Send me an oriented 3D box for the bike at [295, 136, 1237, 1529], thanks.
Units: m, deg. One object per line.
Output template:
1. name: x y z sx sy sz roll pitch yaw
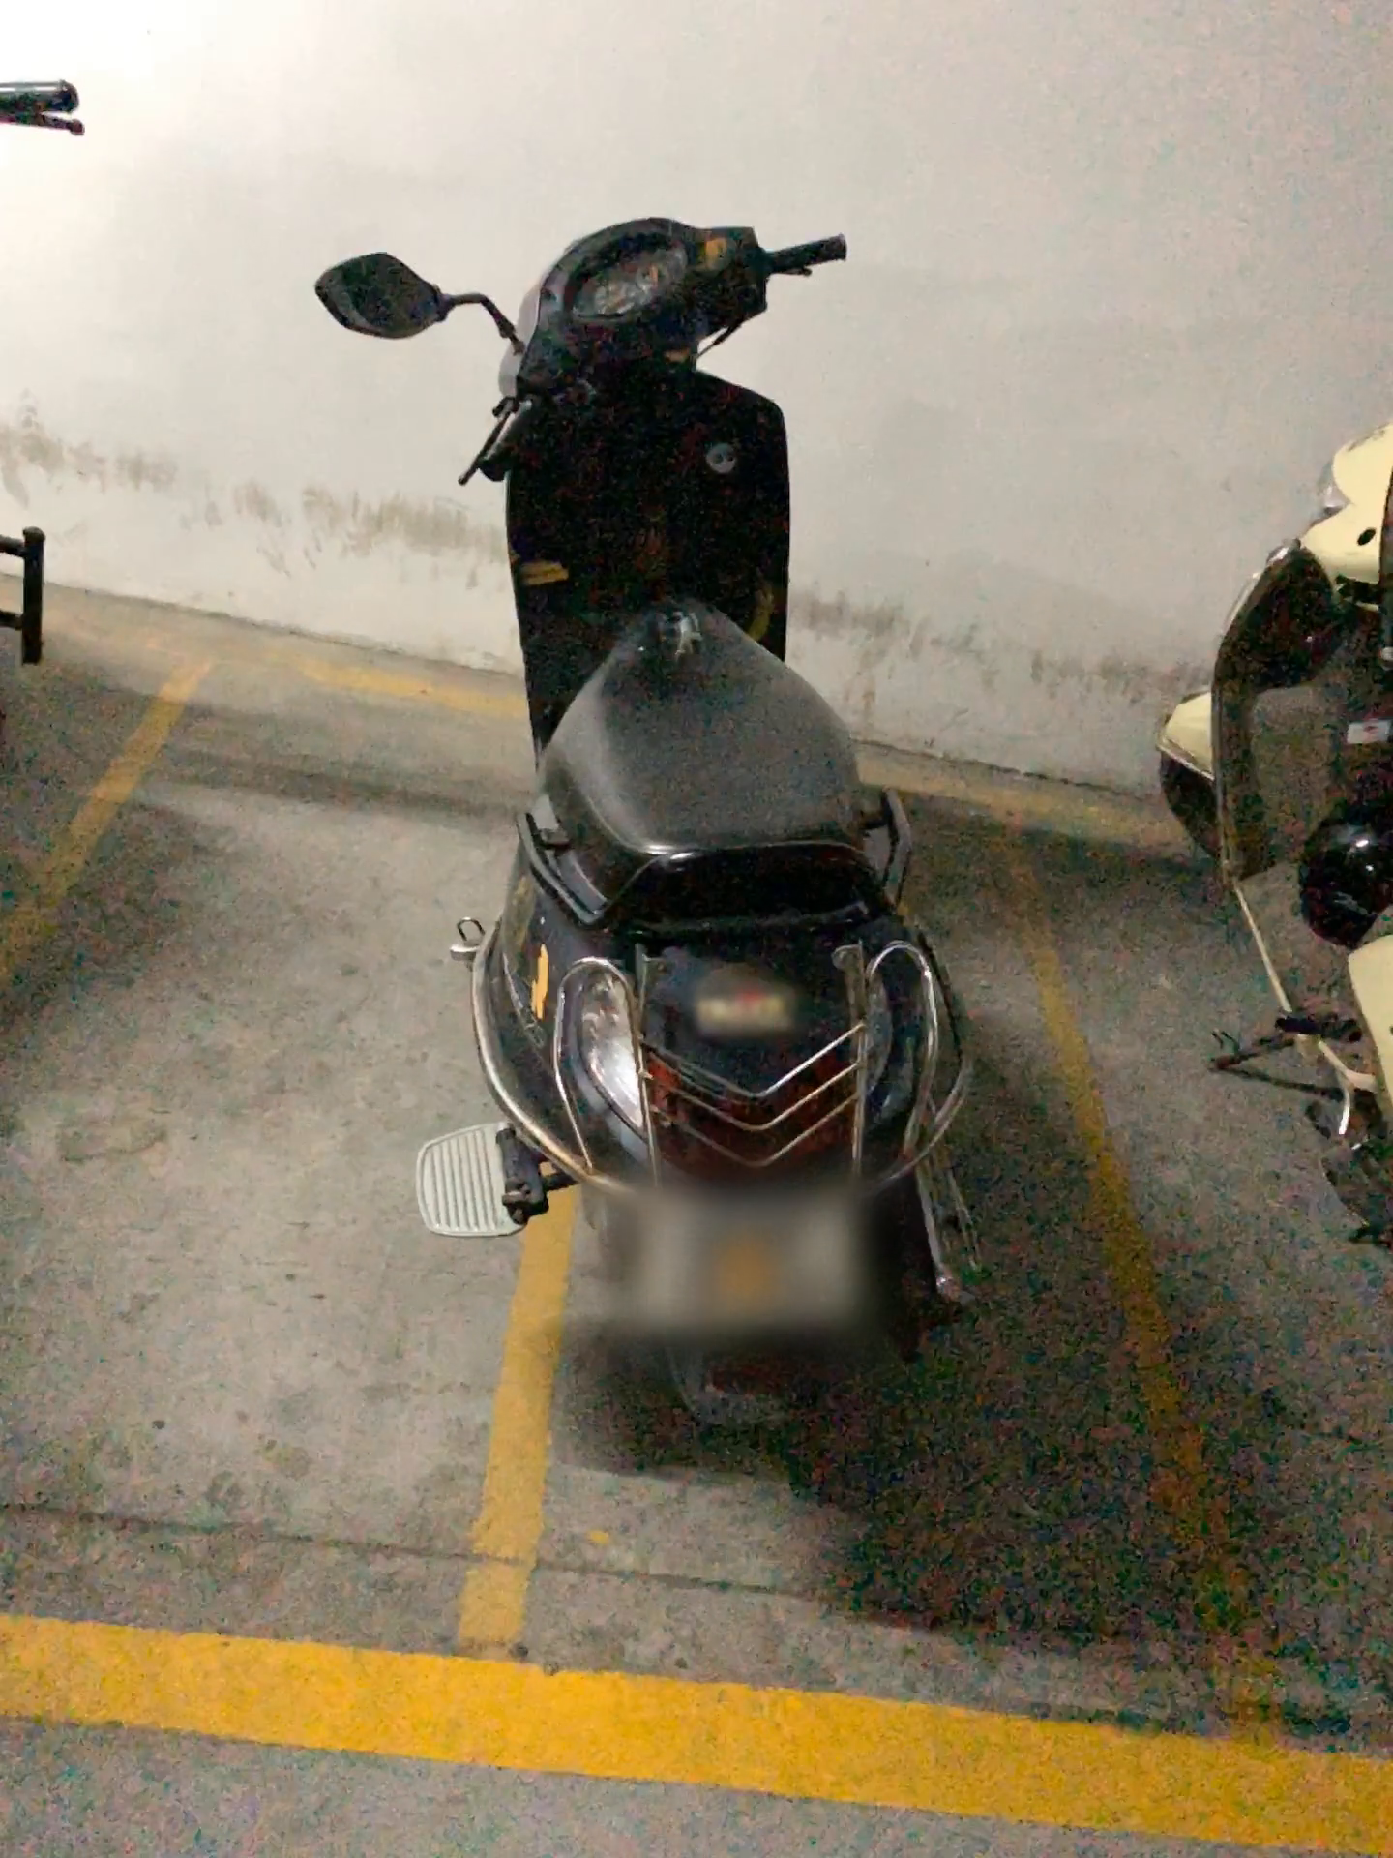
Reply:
1. bike: -0.151 -0.230 1.970 0.652 1.239 1.538 4 36 -14
